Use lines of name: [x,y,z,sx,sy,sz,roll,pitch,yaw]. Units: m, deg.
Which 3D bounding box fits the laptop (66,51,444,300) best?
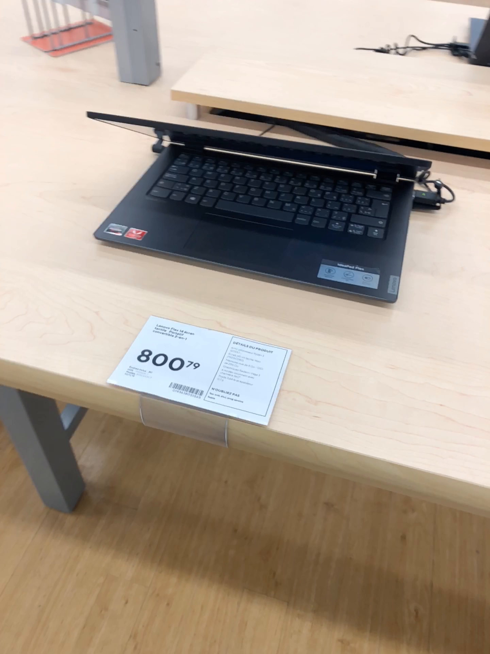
laptop: [0.025,-0.181,0.591,0.332,0.121,0.229,13,46,11]
